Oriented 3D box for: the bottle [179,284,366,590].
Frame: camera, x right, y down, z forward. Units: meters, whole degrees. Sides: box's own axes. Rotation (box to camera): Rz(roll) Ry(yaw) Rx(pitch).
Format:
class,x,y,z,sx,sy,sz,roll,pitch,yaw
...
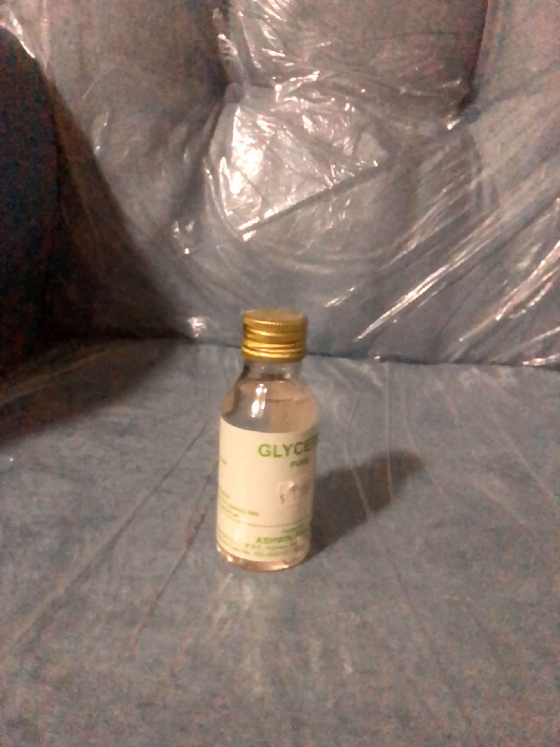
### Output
class,x,y,z,sx,sy,sz,roll,pitch,yaw
bottle,-0.006,0.021,0.244,0.050,0.100,0.050,2,20,-1
